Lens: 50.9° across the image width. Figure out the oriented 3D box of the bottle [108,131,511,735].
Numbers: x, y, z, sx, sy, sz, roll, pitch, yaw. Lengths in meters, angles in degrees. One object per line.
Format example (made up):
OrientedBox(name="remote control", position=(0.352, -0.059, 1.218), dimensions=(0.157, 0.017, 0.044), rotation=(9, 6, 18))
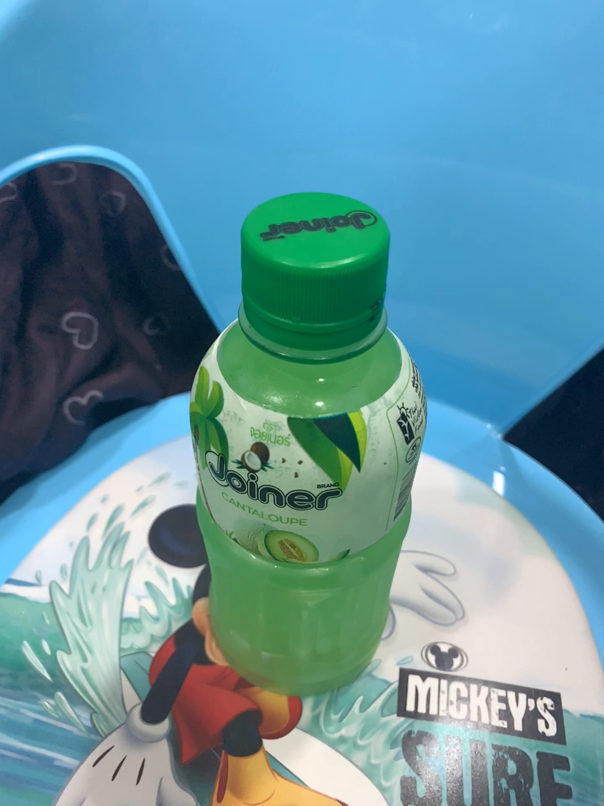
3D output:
OrientedBox(name="bottle", position=(0.004, 0.015, 0.163), dimensions=(0.060, 0.139, 0.060), rotation=(1, 40, -1))
